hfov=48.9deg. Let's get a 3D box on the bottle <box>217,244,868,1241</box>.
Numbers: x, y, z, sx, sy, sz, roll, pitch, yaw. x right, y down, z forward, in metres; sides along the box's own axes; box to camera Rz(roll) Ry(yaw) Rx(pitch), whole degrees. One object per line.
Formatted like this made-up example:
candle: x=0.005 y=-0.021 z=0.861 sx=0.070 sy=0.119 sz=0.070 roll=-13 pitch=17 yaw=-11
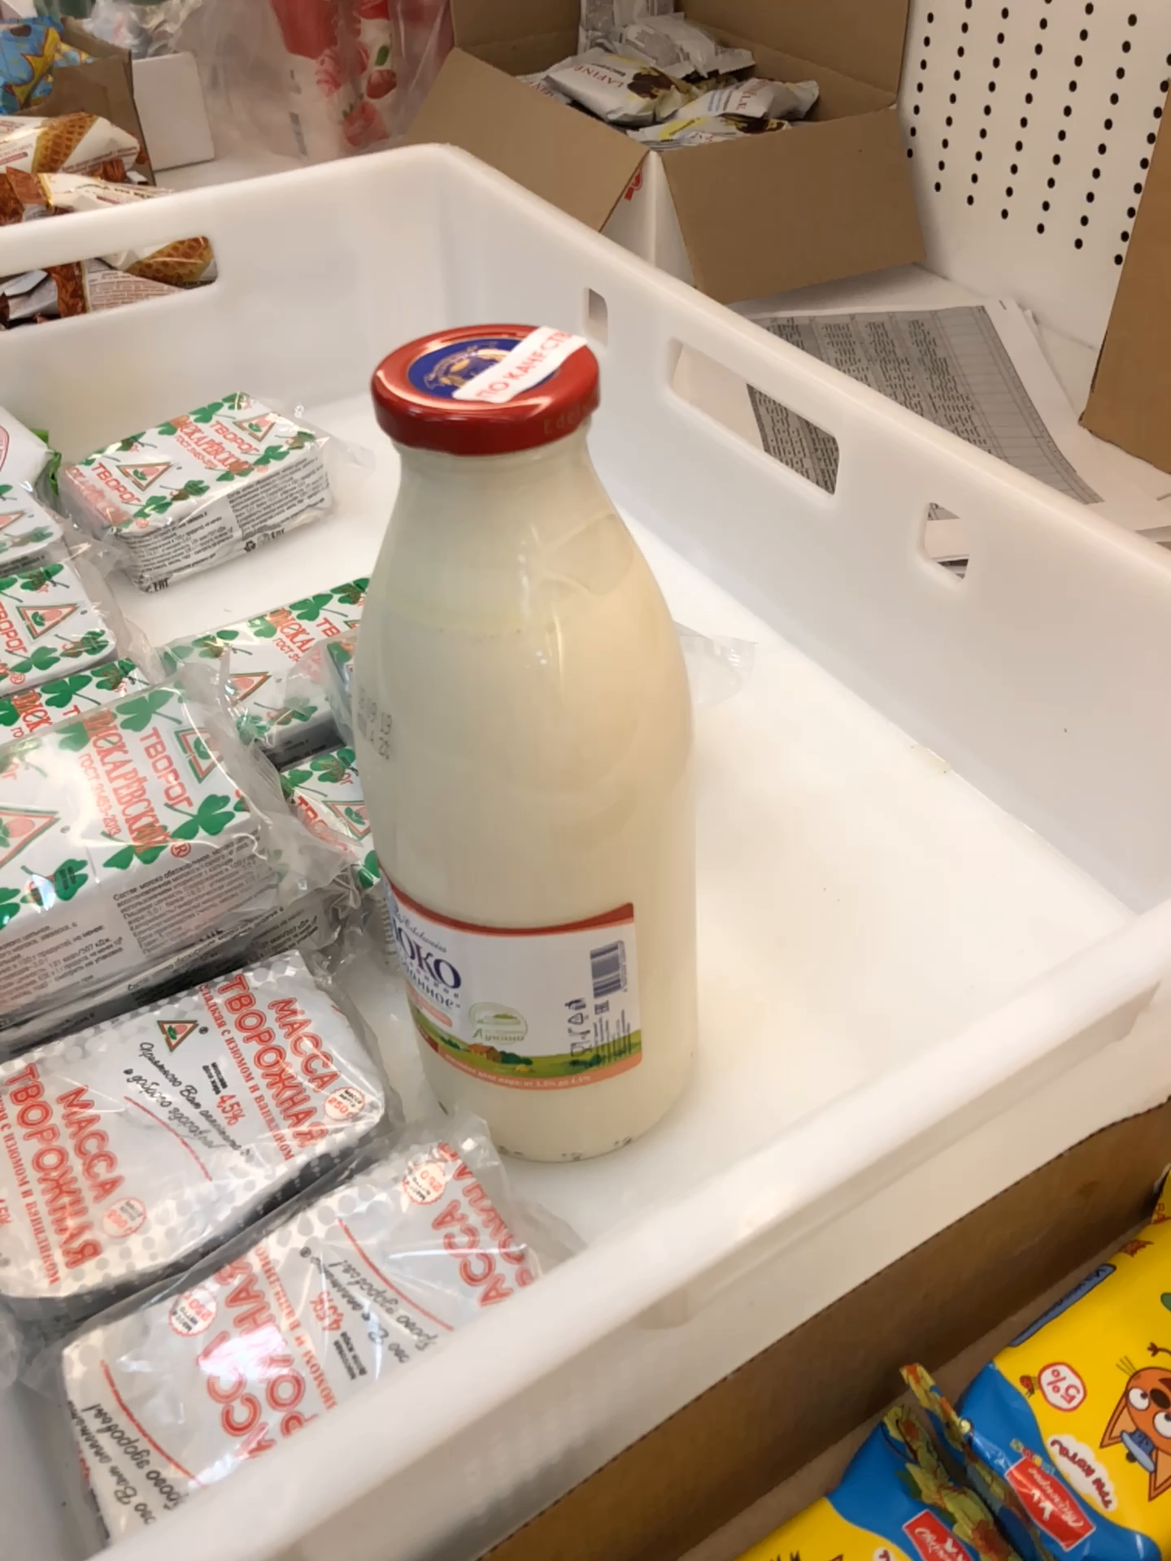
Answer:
bottle: x=-0.010 y=0.001 z=0.308 sx=0.090 sy=0.209 sz=0.090 roll=-1 pitch=42 yaw=1
